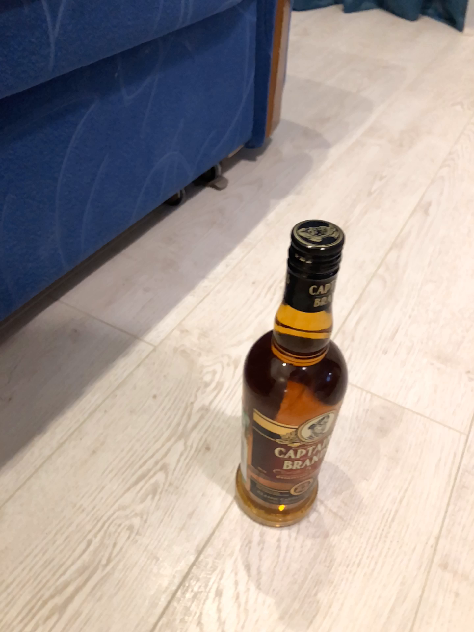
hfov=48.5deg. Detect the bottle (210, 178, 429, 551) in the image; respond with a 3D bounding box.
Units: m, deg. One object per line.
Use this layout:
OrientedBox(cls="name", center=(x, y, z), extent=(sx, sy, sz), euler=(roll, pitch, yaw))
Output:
OrientedBox(cls="bottle", center=(0.035, 0.050, 0.356), extent=(0.080, 0.257, 0.080), euler=(2, 43, -2))
